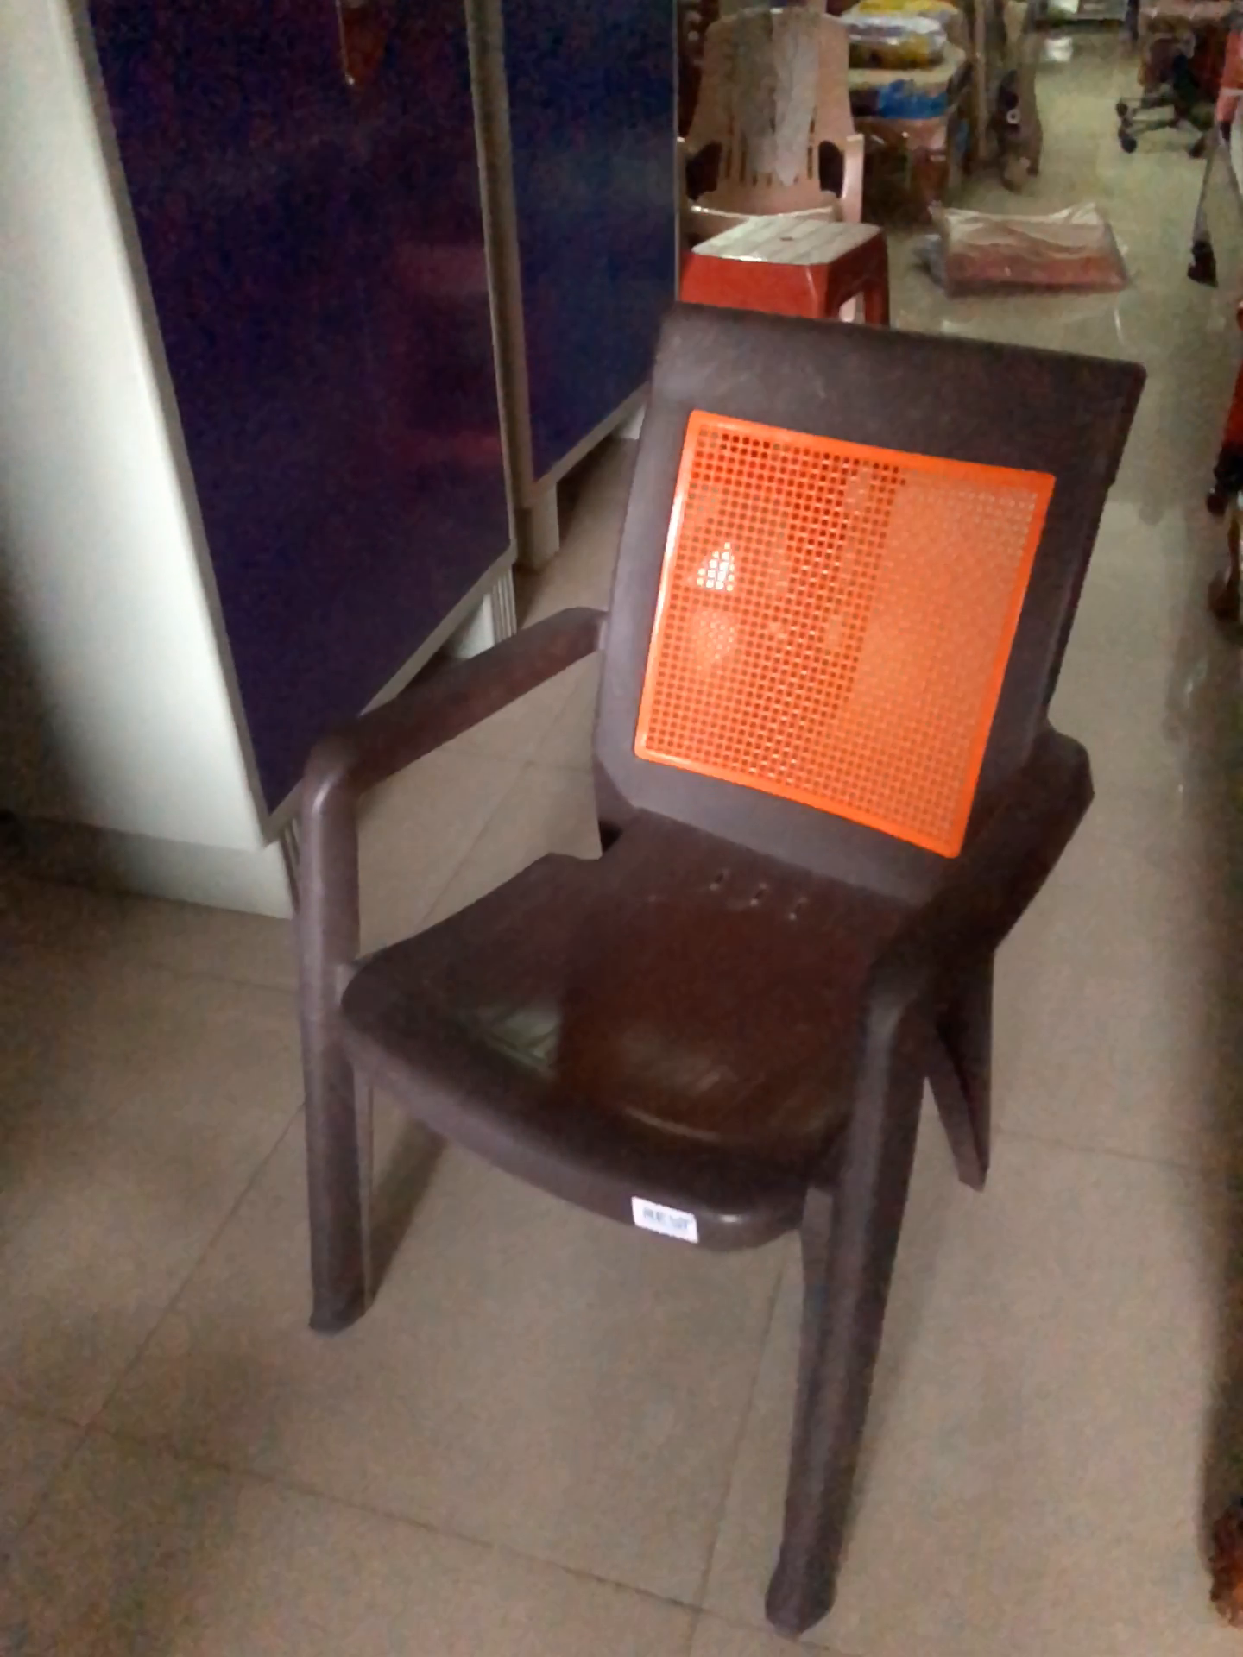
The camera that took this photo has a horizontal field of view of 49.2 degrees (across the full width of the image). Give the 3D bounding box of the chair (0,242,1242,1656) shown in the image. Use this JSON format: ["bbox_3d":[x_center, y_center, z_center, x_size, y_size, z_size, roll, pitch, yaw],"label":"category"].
[{"bbox_3d":[0.053,0.065,1.258,0.710,0.935,0.714,19,41,27],"label":"chair"}]
